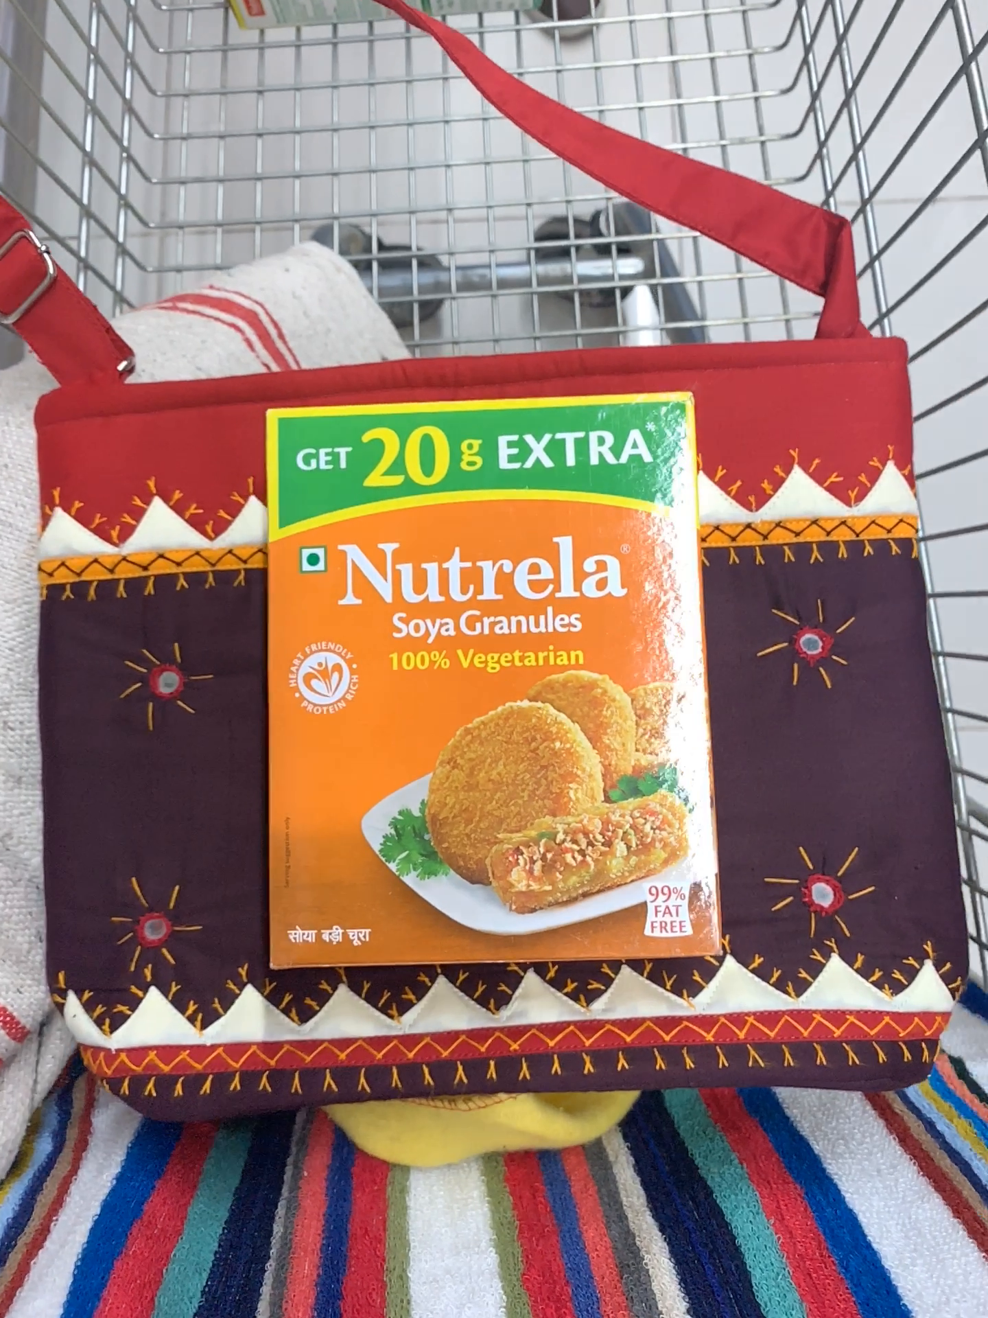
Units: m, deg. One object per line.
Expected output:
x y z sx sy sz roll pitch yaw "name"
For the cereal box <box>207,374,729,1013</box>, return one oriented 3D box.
-0.008 0.010 0.275 0.120 0.060 0.150 -2 82 3 "cereal box"
